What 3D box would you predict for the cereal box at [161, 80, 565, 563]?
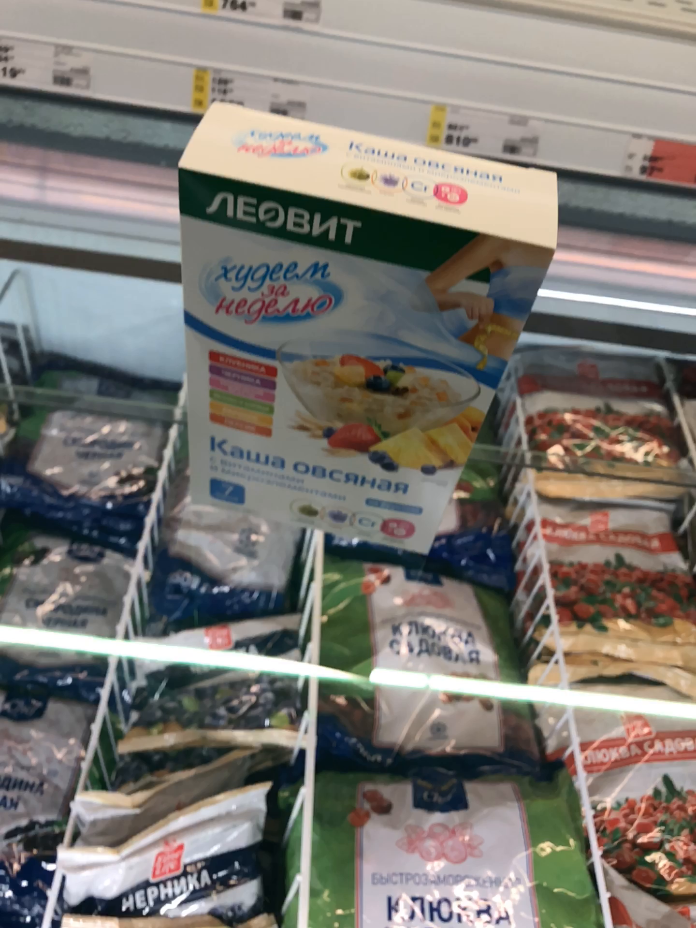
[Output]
[{"bbox_3d":[-0.004,-0.050,0.389,0.150,0.228,0.060,12,51,1],"label":"cereal box"}]
